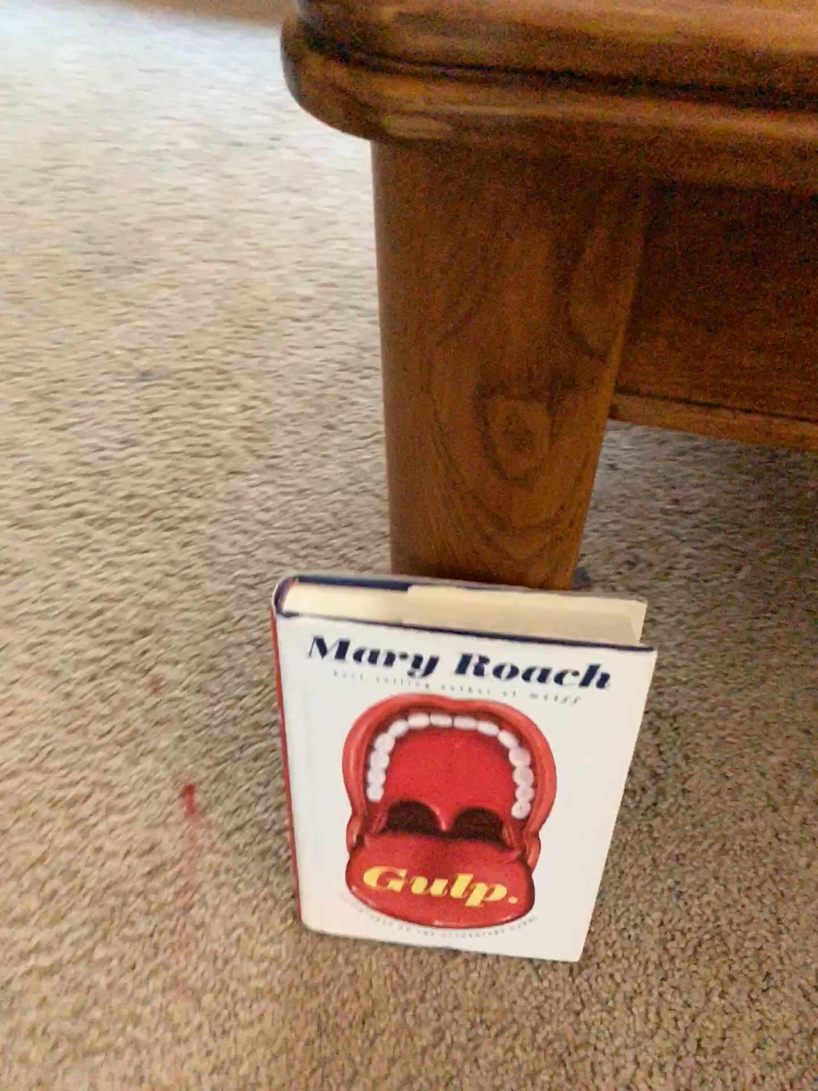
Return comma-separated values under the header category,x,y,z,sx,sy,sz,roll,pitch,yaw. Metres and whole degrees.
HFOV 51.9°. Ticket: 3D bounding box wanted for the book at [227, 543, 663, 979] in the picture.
category,x,y,z,sx,sy,sz,roll,pitch,yaw
book,0.012,0.111,0.389,0.160,0.229,0.040,5,35,6
